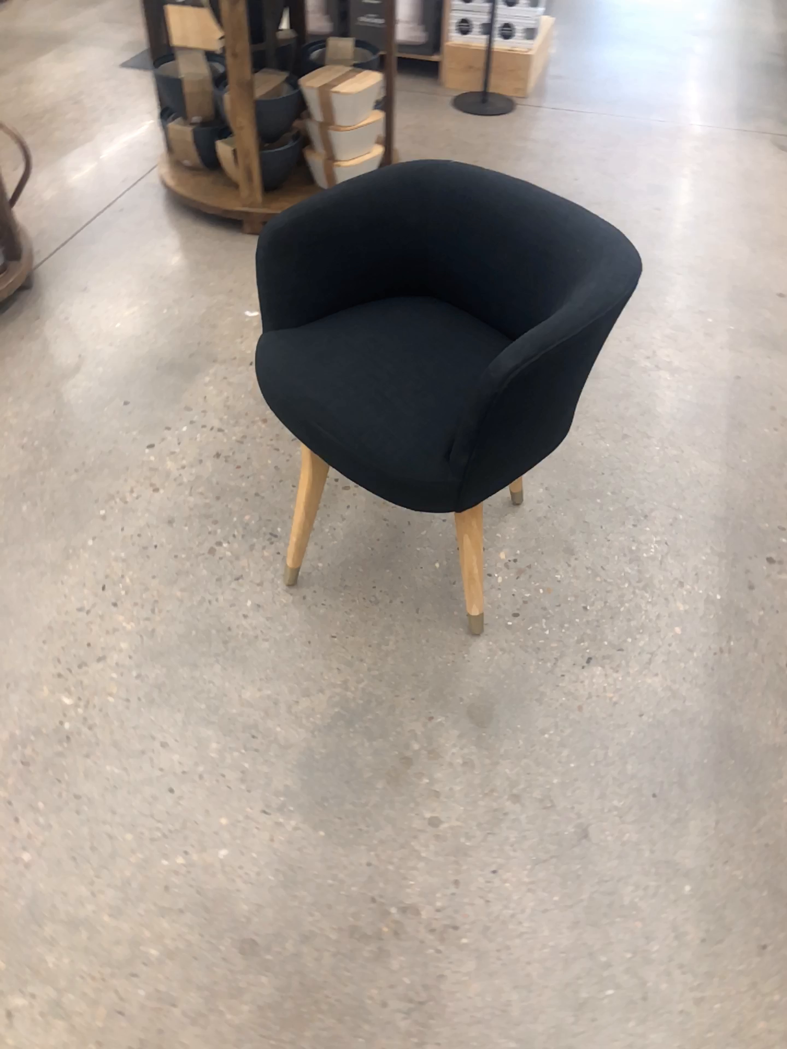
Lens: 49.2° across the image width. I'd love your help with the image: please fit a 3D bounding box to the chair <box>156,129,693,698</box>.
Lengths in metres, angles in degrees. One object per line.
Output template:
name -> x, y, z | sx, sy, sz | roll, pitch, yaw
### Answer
chair -> 0.027, -0.227, 1.582 | 0.604, 0.670, 0.603 | -25, 50, -25
